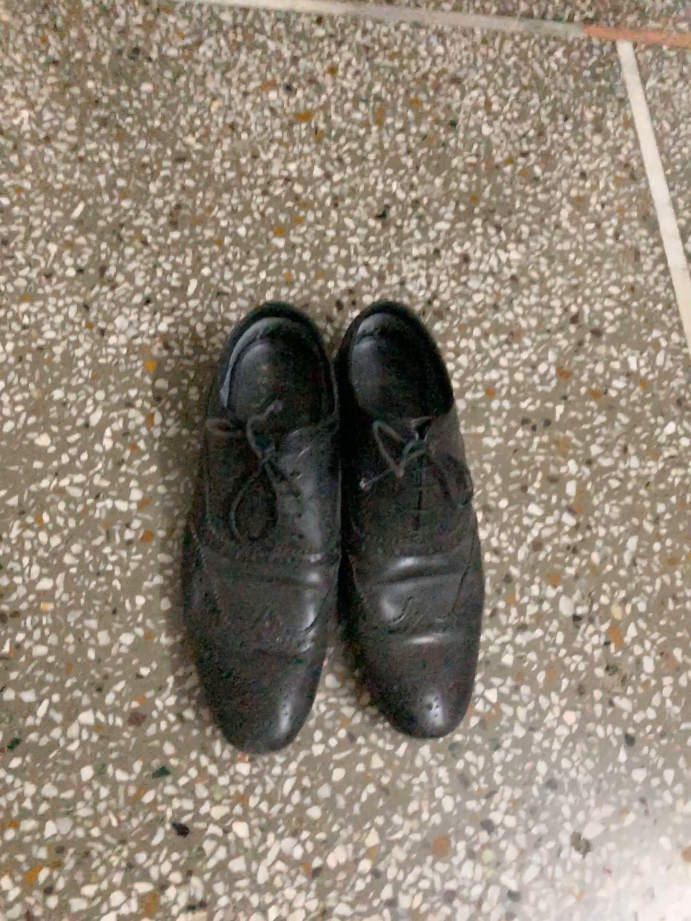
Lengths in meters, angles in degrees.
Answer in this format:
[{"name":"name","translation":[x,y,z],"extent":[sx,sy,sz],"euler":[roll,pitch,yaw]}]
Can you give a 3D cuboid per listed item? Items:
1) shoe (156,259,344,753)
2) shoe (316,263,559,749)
[{"name":"shoe","translation":[-0.057,0.028,0.489],"extent":[0.100,0.100,0.320],"euler":[3,69,-6]},{"name":"shoe","translation":[0.050,0.026,0.502],"extent":[0.100,0.100,0.320],"euler":[-4,70,-8]}]
